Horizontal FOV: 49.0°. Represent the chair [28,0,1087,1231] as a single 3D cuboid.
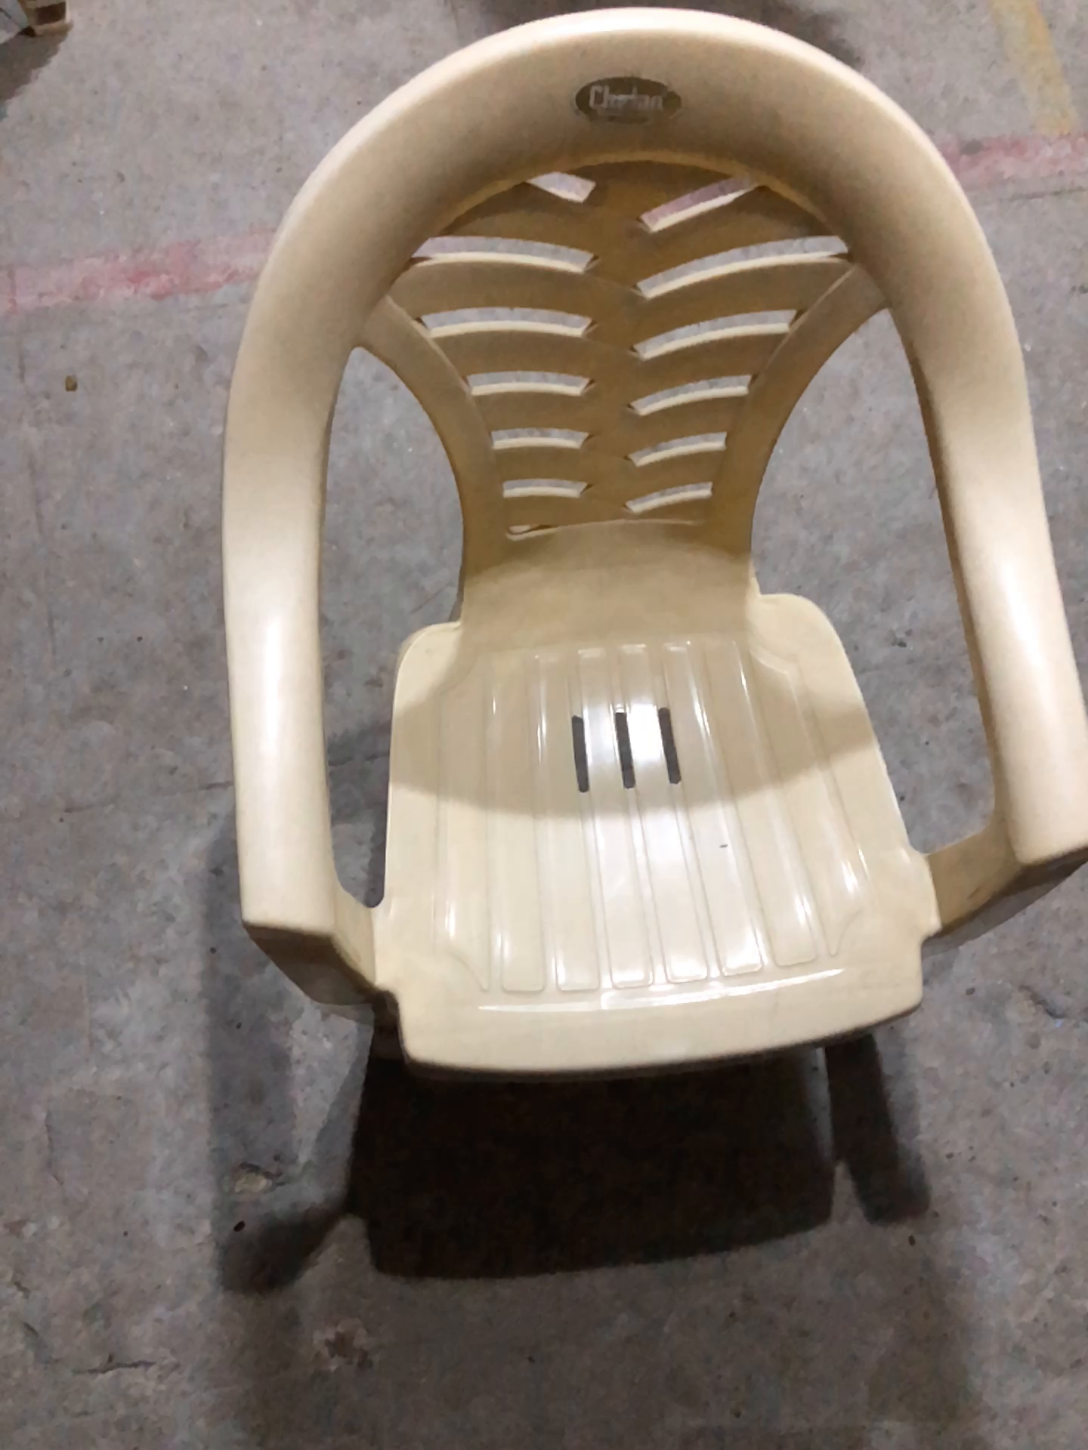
[{"bbox_3d":[0.076,-0.007,0.906,0.560,0.868,0.561,-3,76,-3],"label":"chair"}]
